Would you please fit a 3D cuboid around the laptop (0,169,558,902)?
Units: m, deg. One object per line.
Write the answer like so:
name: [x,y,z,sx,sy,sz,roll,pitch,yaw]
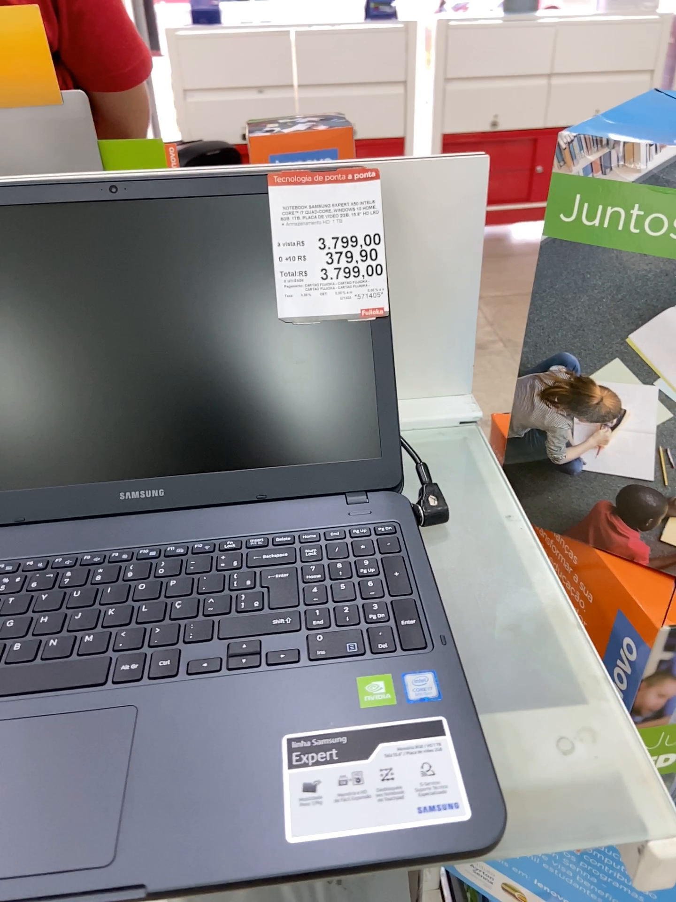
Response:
laptop: [-0.138,-0.004,0.383,0.371,0.192,0.371,-5,33,-3]
